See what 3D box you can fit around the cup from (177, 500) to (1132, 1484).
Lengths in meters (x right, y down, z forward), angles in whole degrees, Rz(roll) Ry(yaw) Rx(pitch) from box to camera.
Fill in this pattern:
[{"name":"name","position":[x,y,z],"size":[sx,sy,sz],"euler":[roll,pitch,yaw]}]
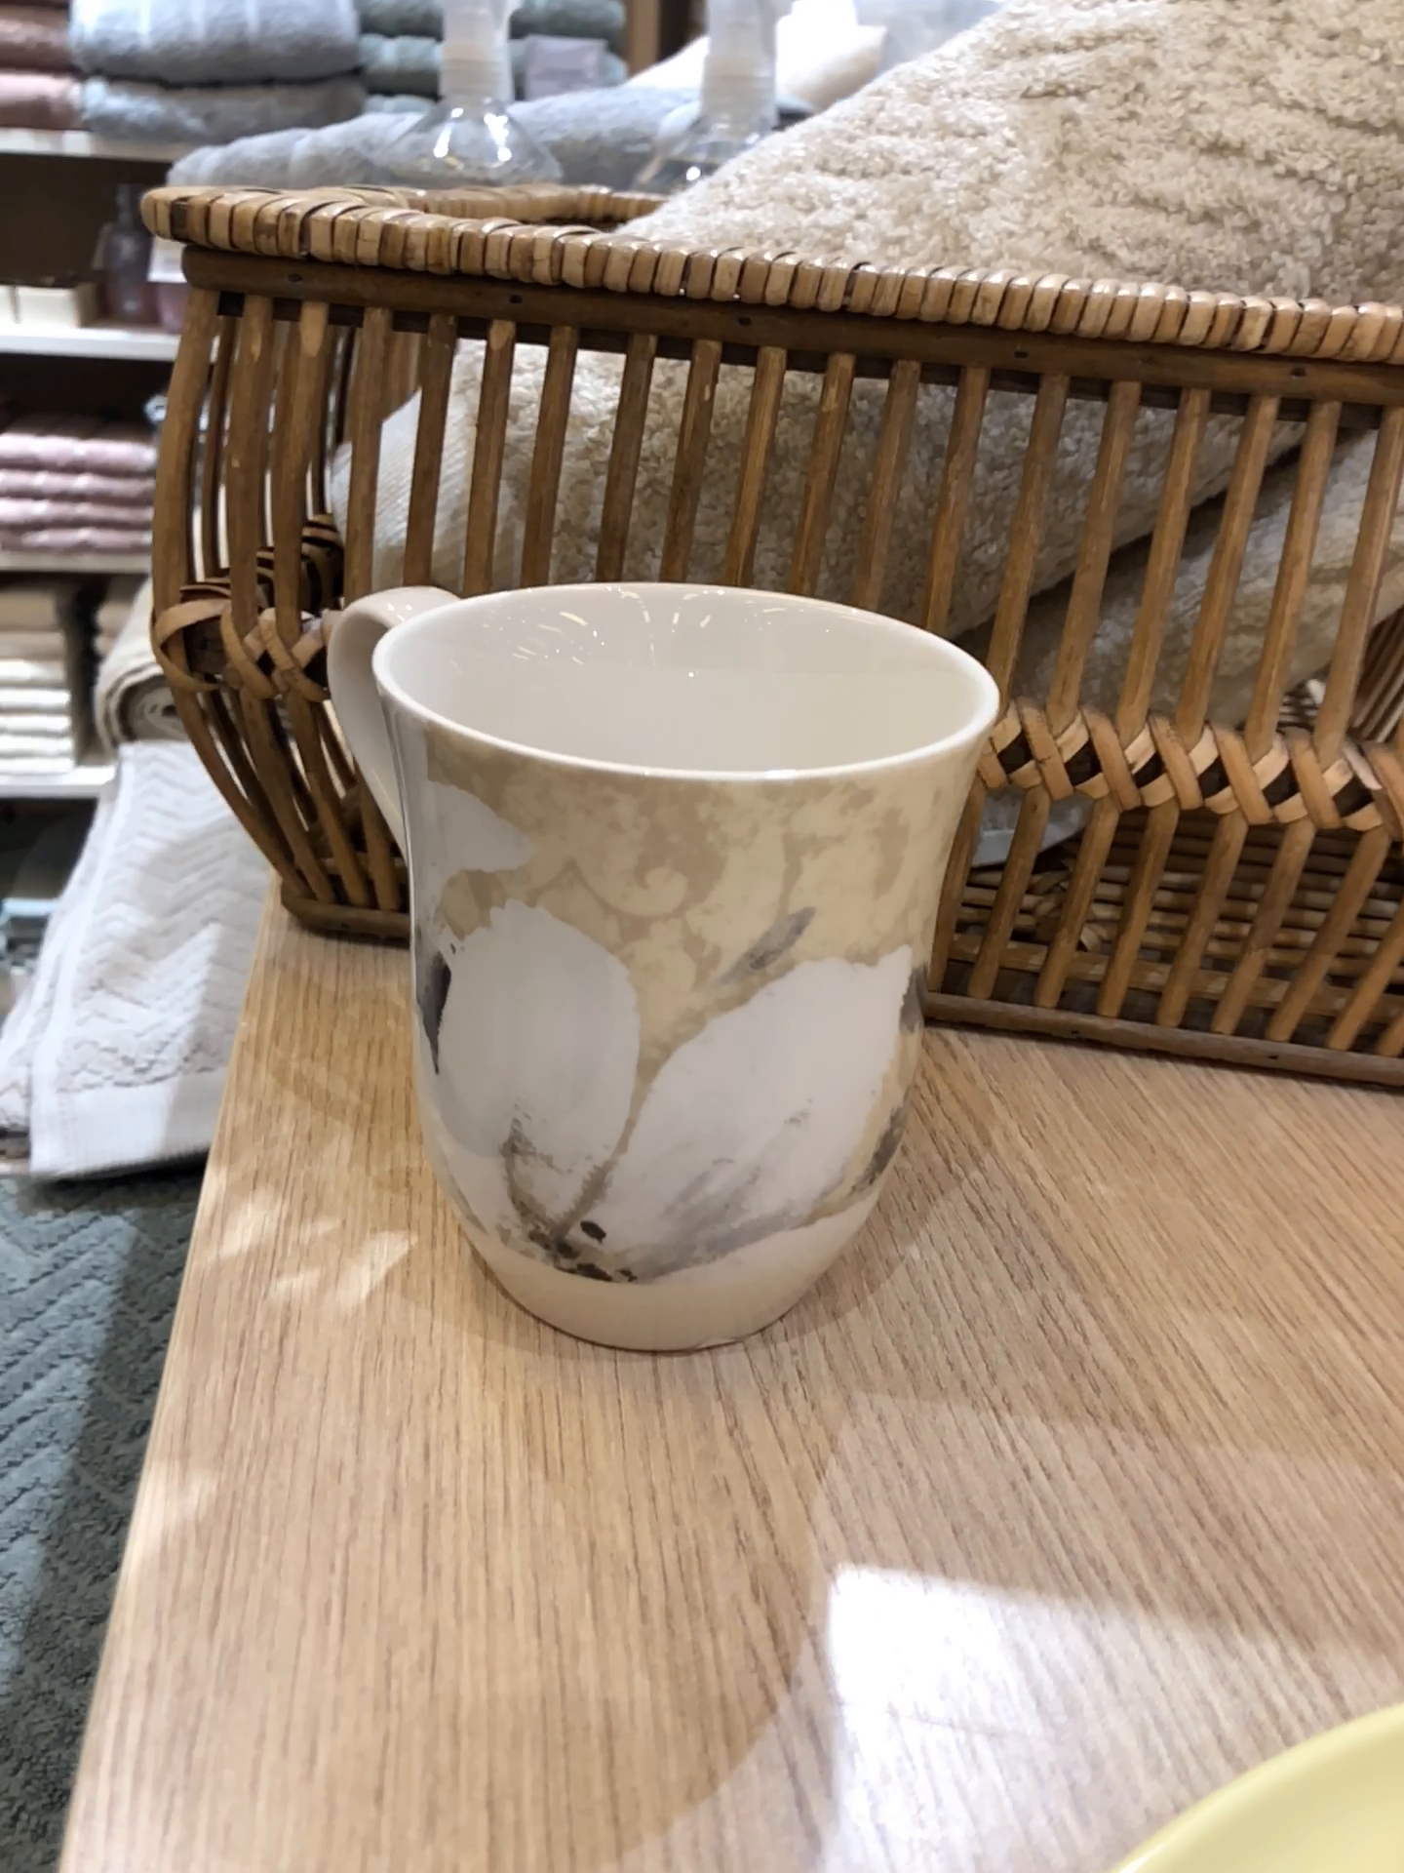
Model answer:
[{"name":"cup","position":[-0.018,-0.006,0.261],"size":[0.090,0.099,0.131],"euler":[-14,32,-32]}]
